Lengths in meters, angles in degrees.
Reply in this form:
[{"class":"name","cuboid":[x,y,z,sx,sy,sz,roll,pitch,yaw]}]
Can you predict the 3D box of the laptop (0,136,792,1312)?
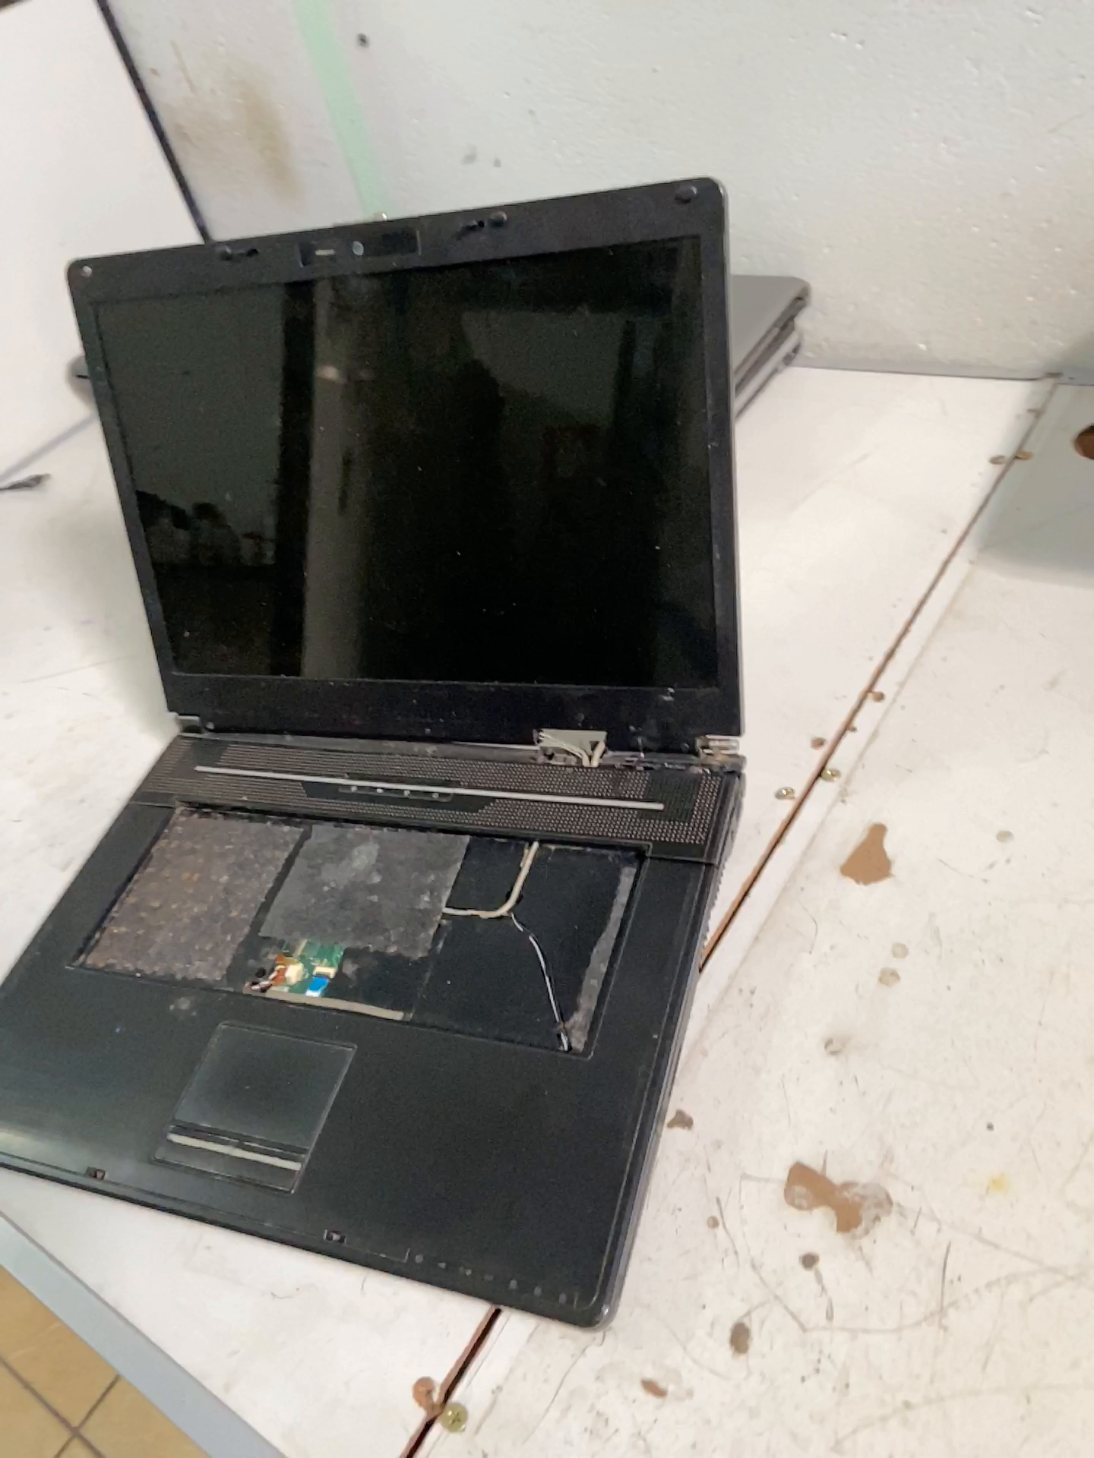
[{"class":"laptop","cuboid":[-0.111,-0.027,0.496,0.345,0.235,0.381,3,48,24]}]
